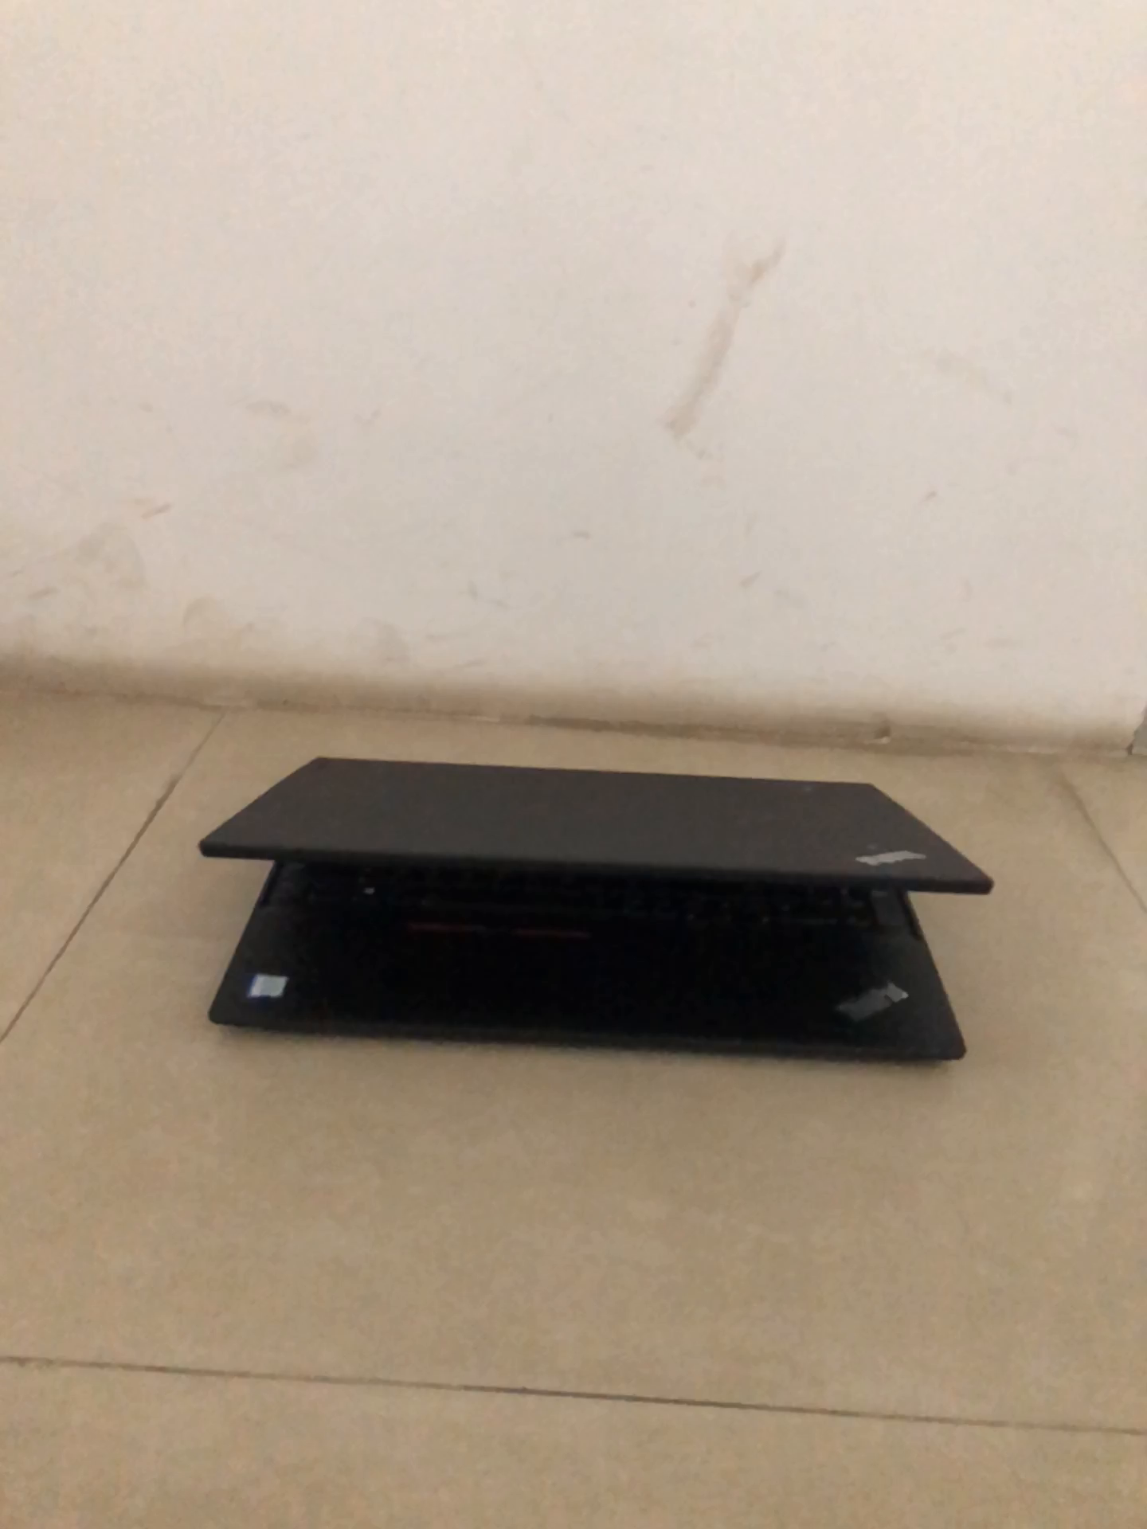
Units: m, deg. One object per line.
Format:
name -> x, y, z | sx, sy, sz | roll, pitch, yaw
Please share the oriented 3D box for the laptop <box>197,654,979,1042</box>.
laptop -> 0.006, 0.031, 0.678 | 0.349, 0.071, 0.238 | 2, 31, 0
